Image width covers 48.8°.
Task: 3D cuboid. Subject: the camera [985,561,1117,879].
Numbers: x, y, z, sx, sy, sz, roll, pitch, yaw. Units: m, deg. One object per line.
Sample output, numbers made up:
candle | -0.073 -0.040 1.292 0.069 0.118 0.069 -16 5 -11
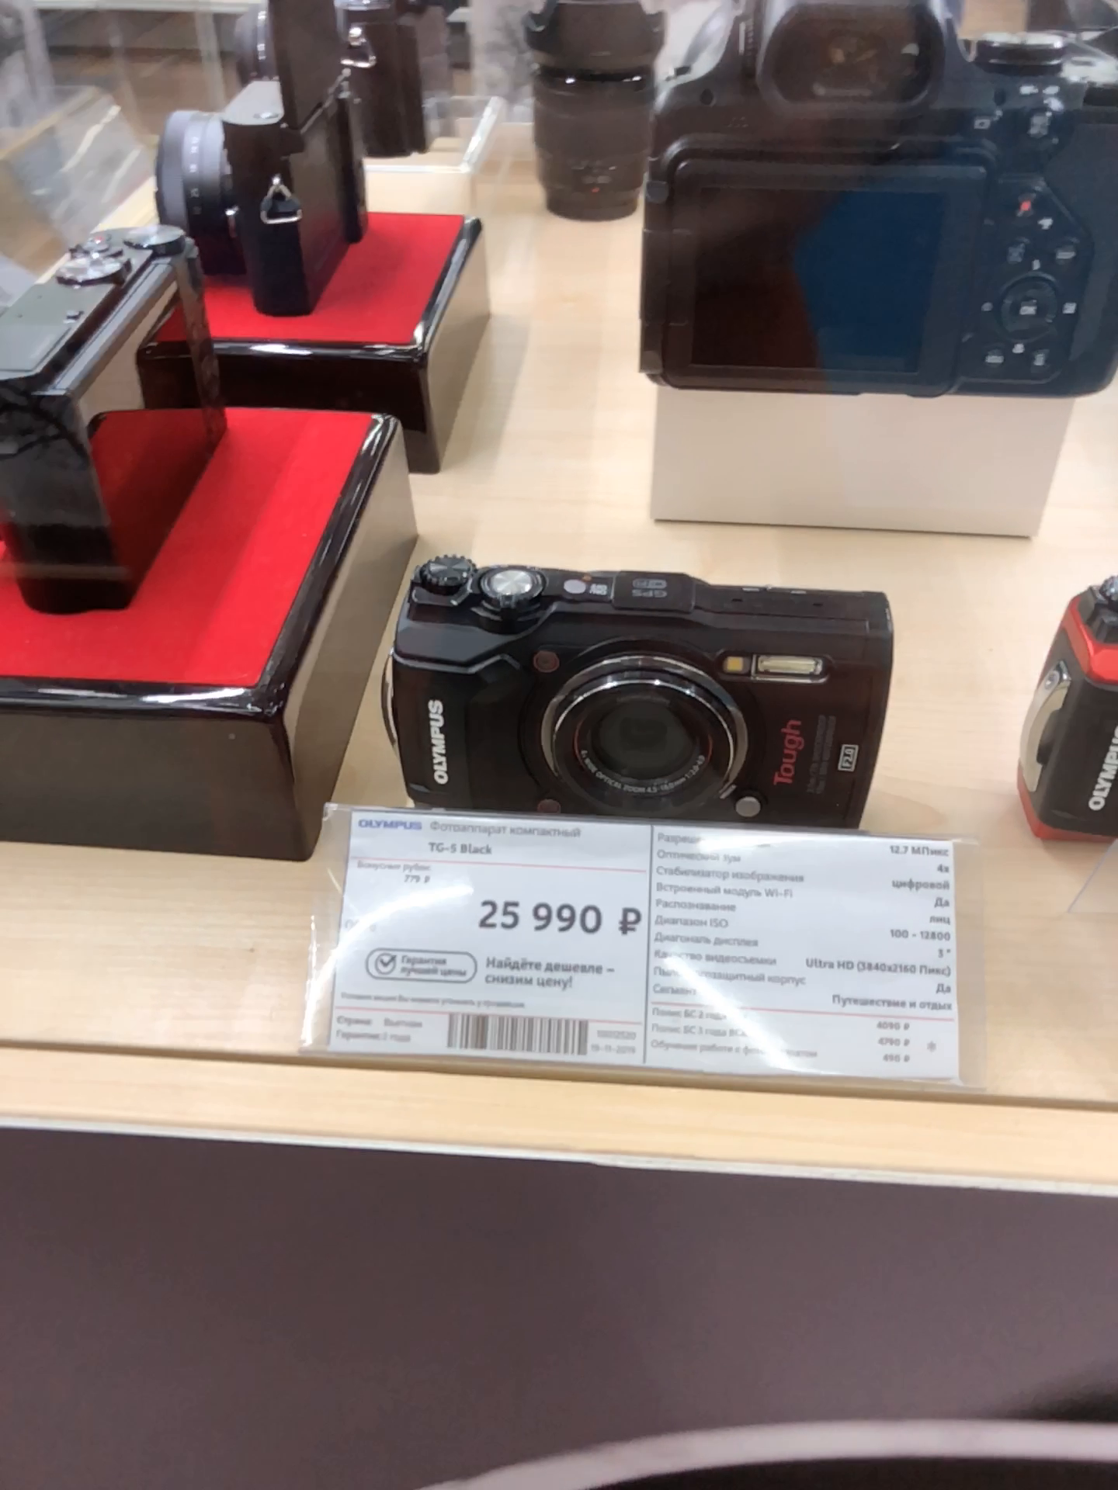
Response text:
camera | 0.166 -0.005 0.282 0.116 0.060 0.030 4 40 4

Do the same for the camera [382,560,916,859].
camera | 0.020 -0.008 0.300 0.116 0.060 0.030 4 40 4
